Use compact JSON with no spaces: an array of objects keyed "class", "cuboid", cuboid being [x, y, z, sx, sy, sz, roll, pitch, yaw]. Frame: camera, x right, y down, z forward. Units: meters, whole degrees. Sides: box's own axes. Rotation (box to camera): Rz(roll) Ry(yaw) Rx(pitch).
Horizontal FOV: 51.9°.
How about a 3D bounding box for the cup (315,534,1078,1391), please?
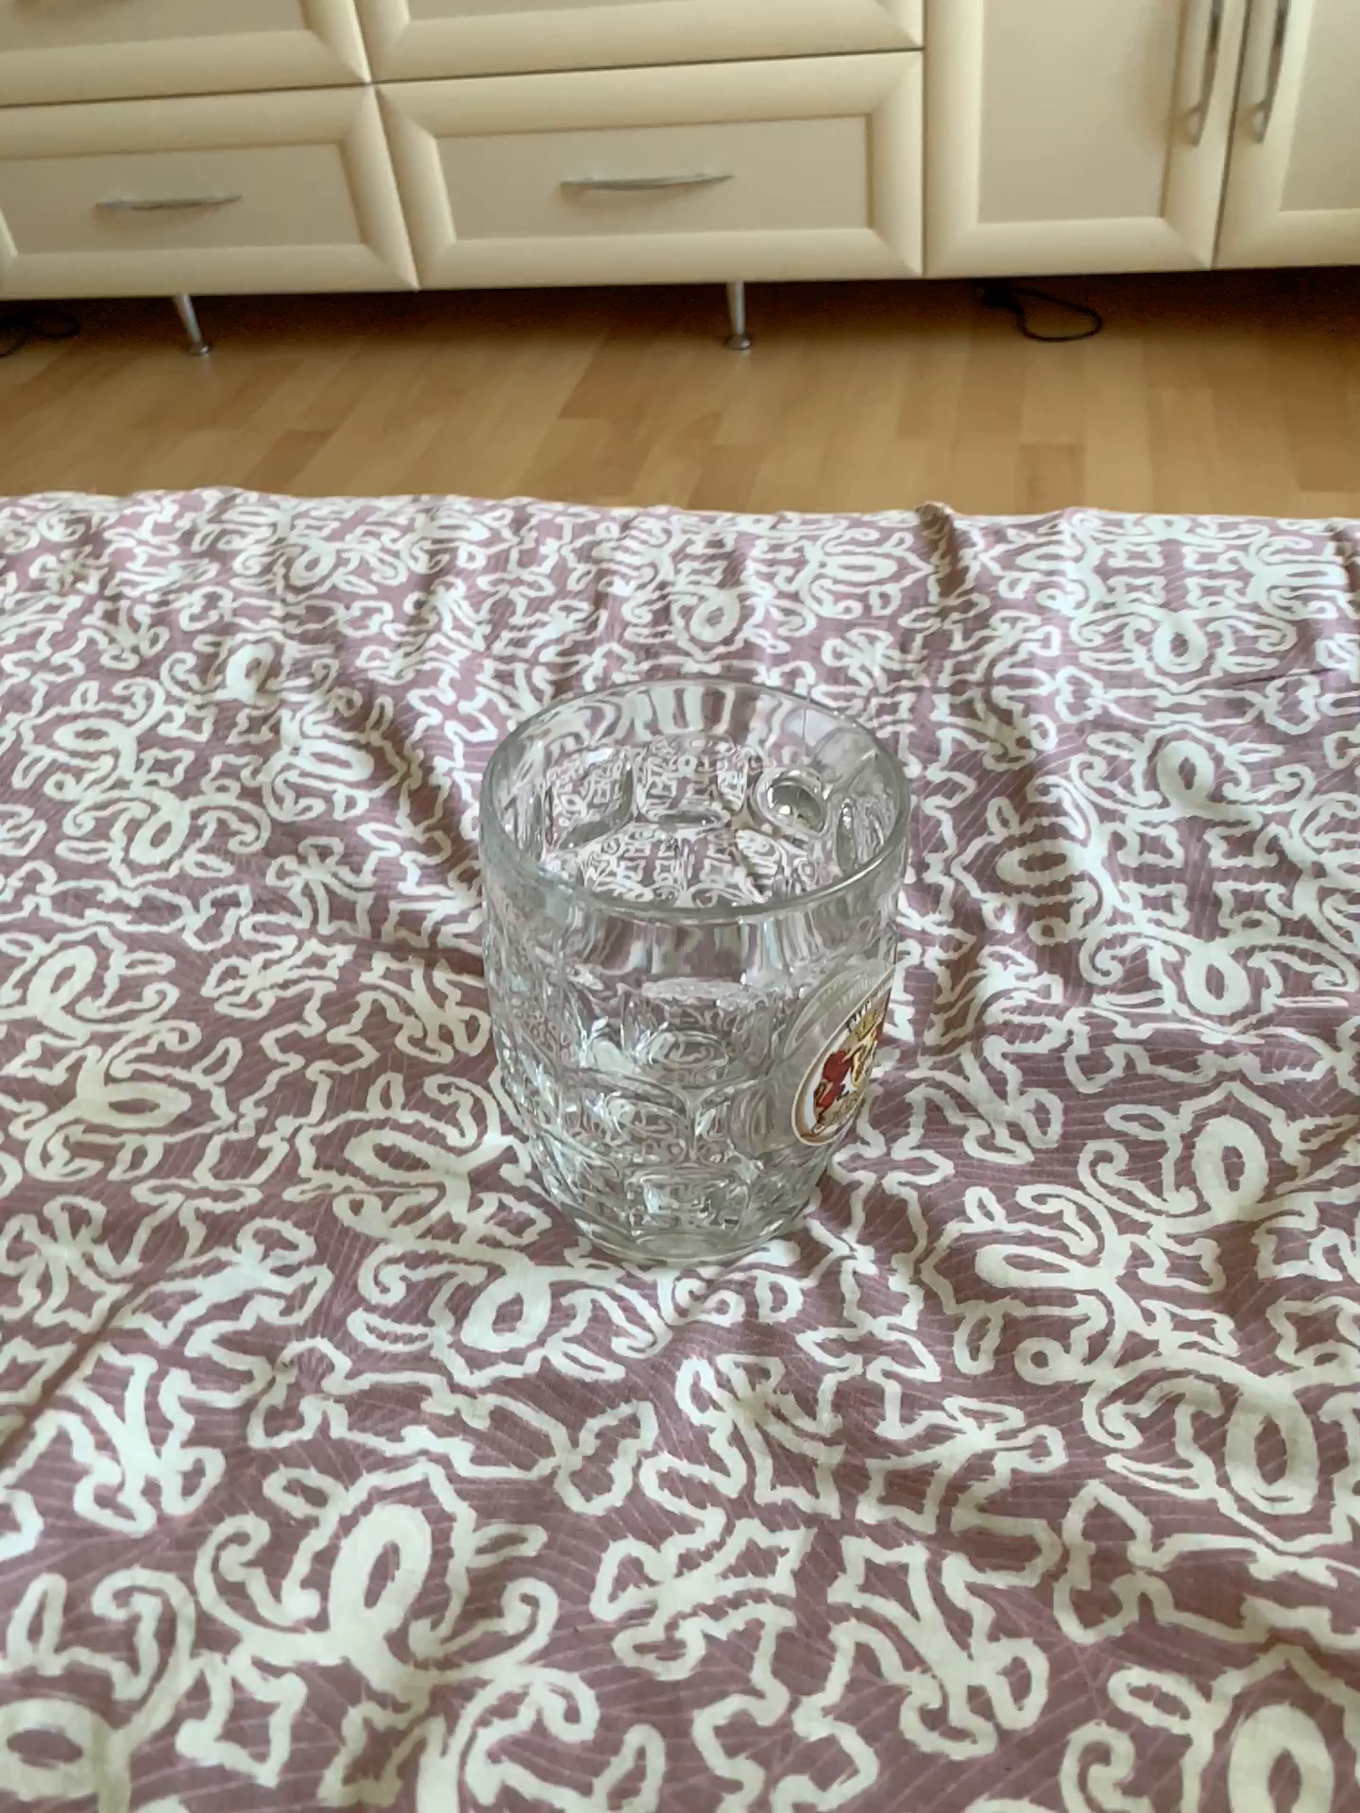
[{"class":"cup","cuboid":[0.006,0.006,0.301,0.090,0.109,0.121,28,49,26]}]
